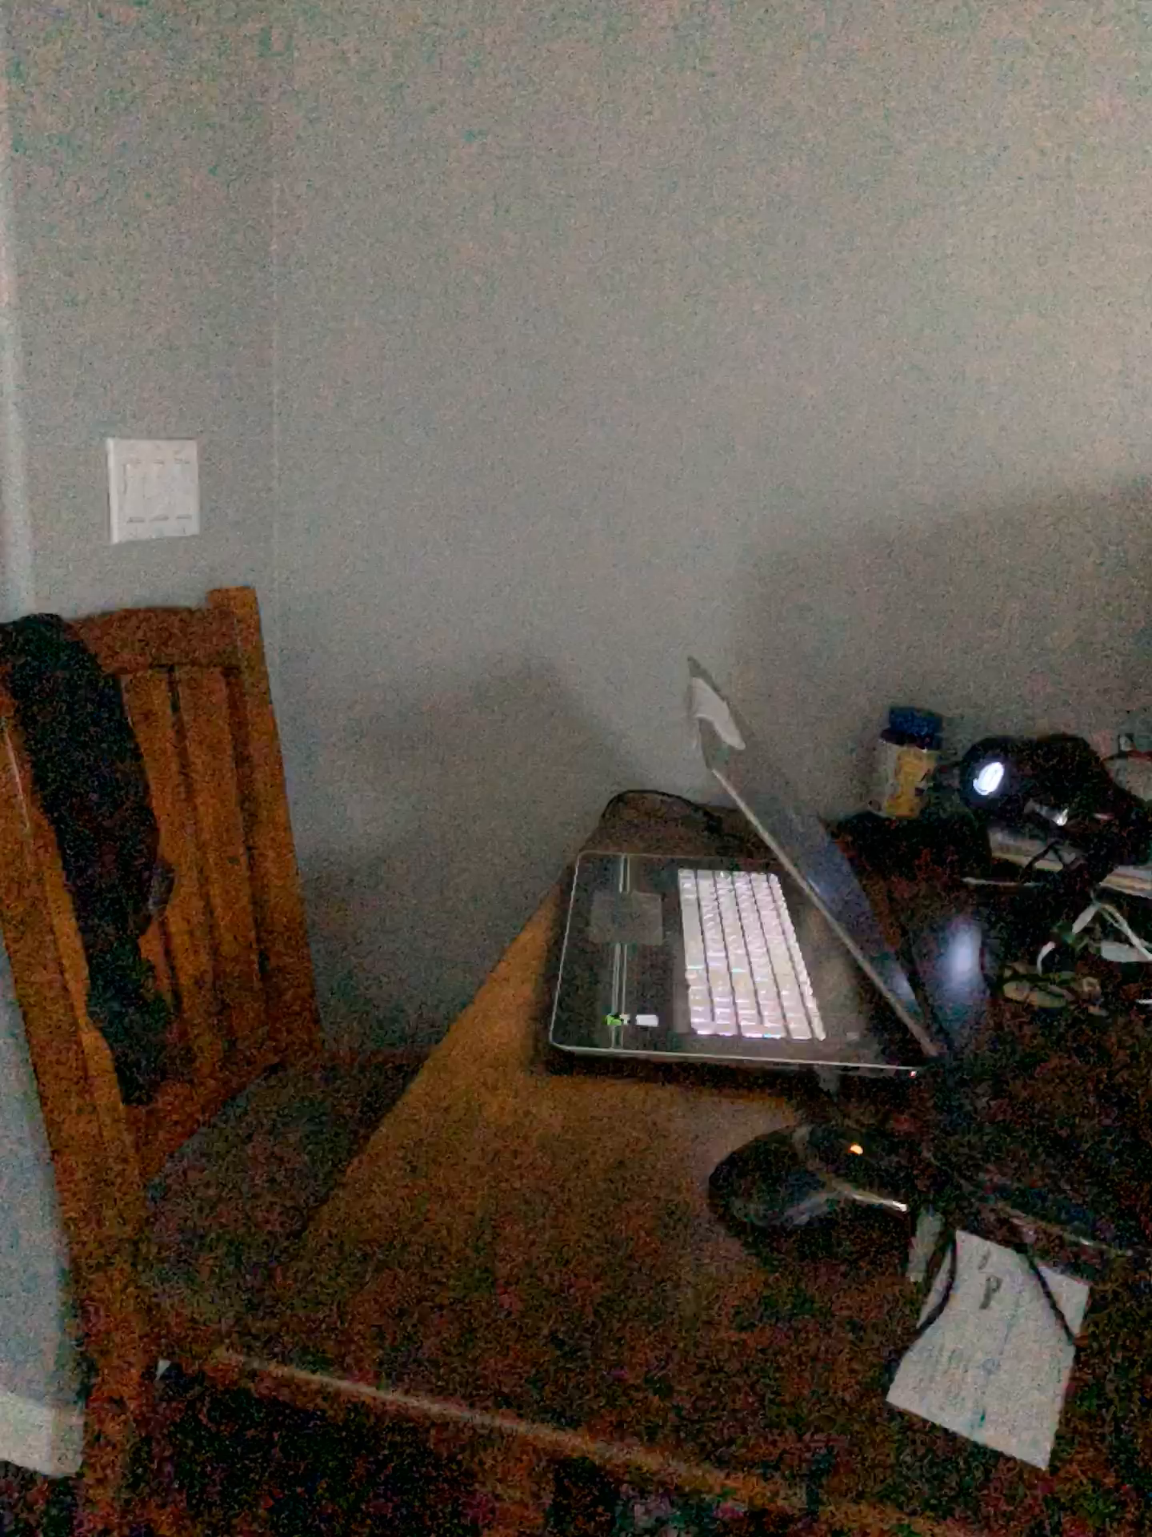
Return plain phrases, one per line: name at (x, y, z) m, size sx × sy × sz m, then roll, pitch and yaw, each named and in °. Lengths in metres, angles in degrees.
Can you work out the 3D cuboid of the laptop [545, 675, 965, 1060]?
laptop at (0.126, 0.053, 0.974) m, size 0.256 × 0.187 × 0.395 m, roll 3°, pitch 15°, yaw 3°
